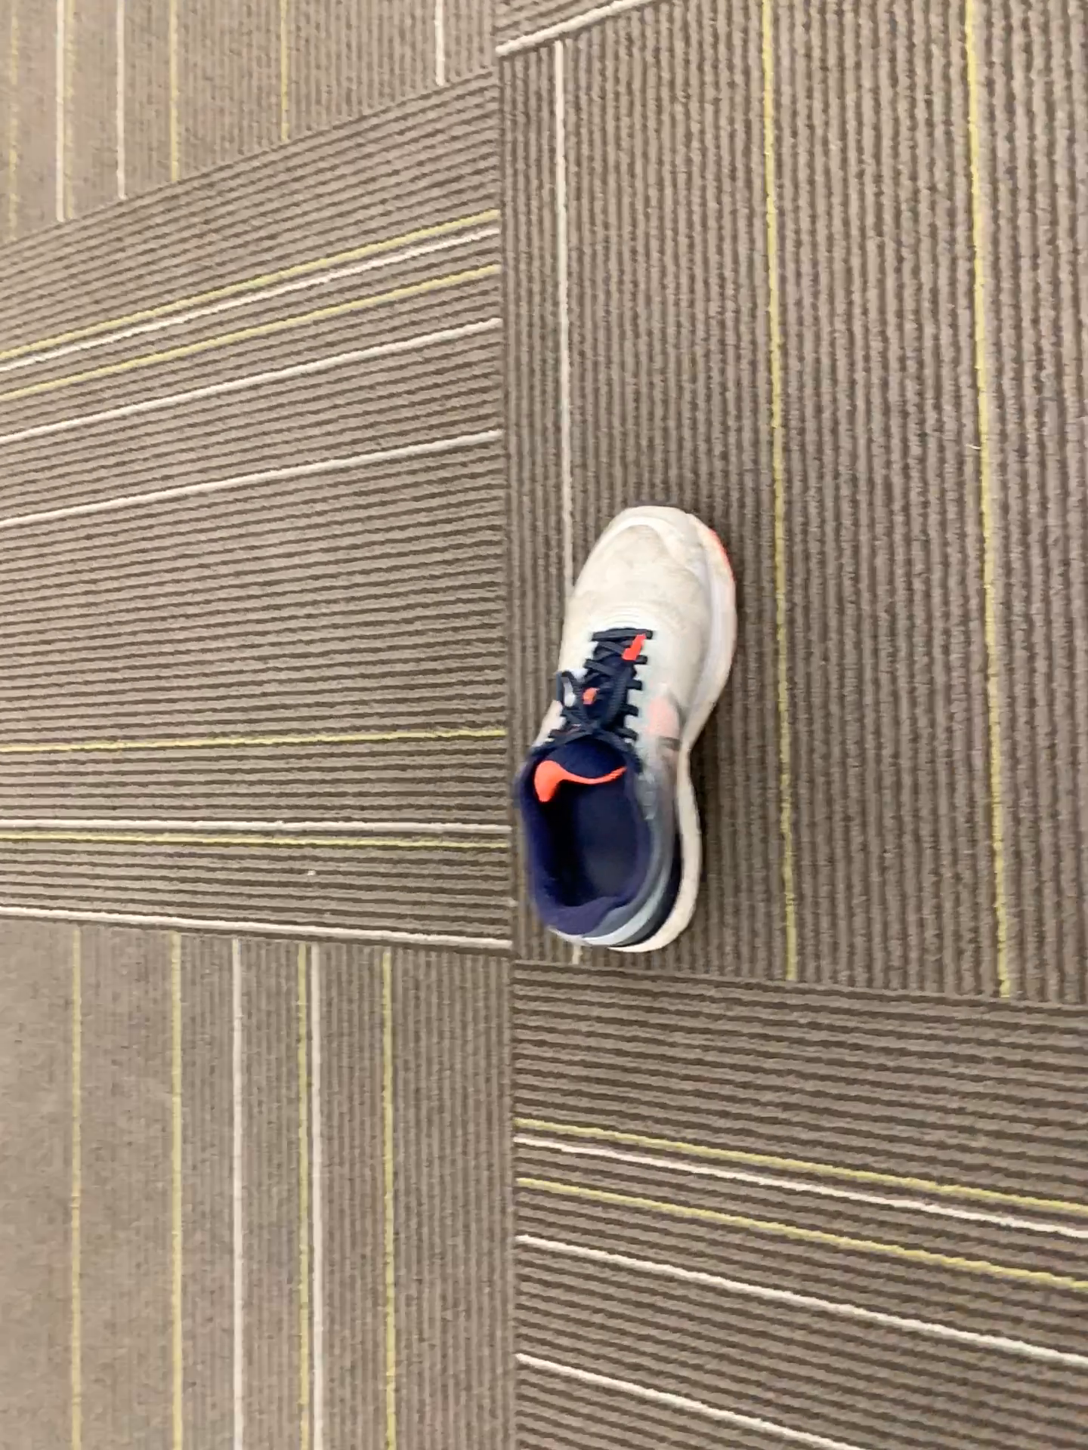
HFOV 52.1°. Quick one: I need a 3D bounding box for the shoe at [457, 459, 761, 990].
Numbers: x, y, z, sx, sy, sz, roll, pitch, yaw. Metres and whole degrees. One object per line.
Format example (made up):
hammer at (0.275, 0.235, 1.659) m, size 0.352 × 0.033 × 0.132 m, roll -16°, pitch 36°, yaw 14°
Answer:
shoe at (0.039, -0.005, 0.671) m, size 0.131 × 0.080 × 0.290 m, roll 7°, pitch 92°, yaw 29°
